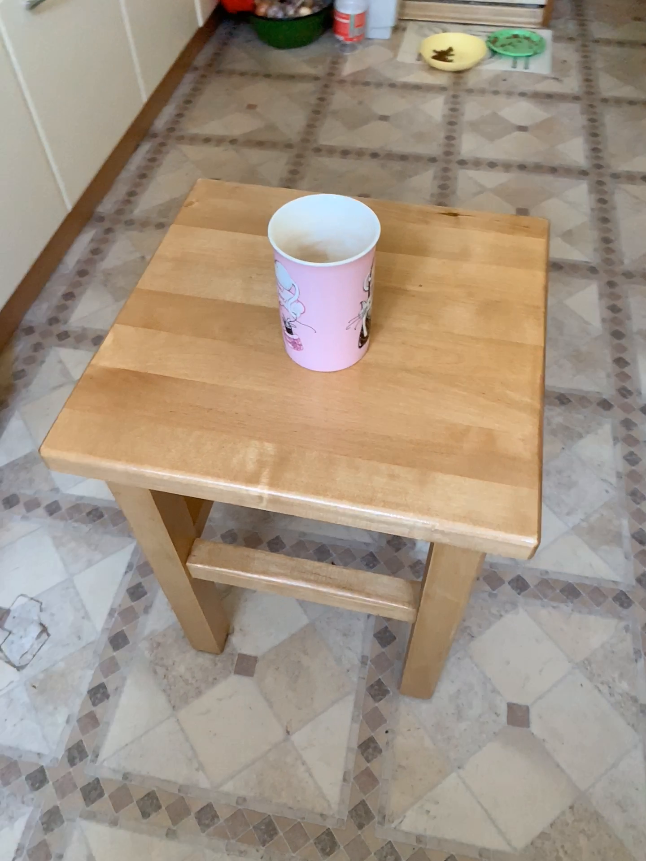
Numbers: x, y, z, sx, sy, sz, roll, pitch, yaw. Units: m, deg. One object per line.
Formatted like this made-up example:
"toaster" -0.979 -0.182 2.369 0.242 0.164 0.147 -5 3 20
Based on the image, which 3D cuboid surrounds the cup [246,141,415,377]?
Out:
"cup" 0.002 -0.124 0.476 0.080 0.099 0.121 -14 54 -9
